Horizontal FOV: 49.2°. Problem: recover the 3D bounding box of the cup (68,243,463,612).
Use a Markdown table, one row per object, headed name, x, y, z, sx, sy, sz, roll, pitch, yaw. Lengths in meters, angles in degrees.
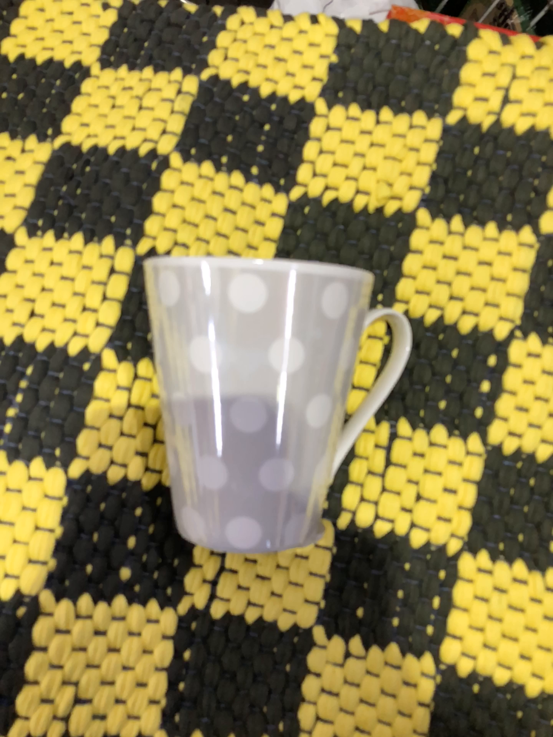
| name | x | y | z | sx | sy | sz | roll | pitch | yaw |
| --- | --- | --- | --- | --- | --- | --- | --- | --- | --- |
| cup | -0.001 | 0.012 | 0.236 | 0.120 | 0.090 | 0.100 | 0 | 96 | -46 |
